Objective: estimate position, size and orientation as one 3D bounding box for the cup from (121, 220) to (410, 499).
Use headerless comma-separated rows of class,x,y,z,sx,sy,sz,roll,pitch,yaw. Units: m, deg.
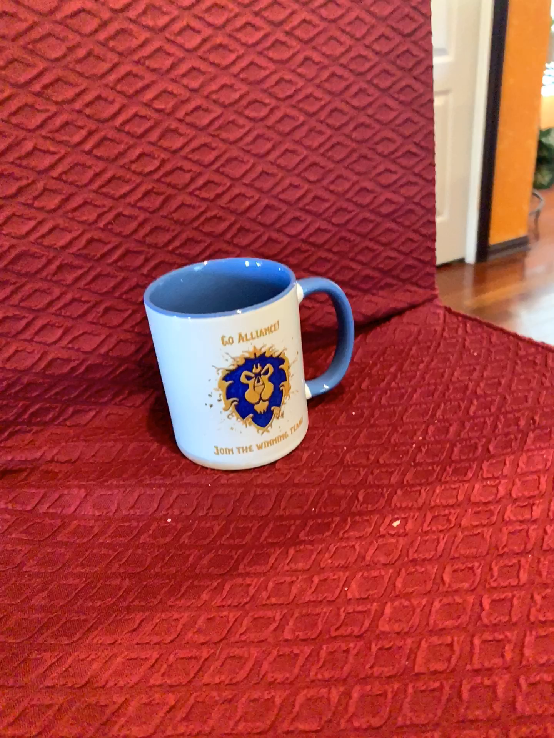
cup,-0.007,-0.015,0.337,0.130,0.099,0.101,-17,32,-18
